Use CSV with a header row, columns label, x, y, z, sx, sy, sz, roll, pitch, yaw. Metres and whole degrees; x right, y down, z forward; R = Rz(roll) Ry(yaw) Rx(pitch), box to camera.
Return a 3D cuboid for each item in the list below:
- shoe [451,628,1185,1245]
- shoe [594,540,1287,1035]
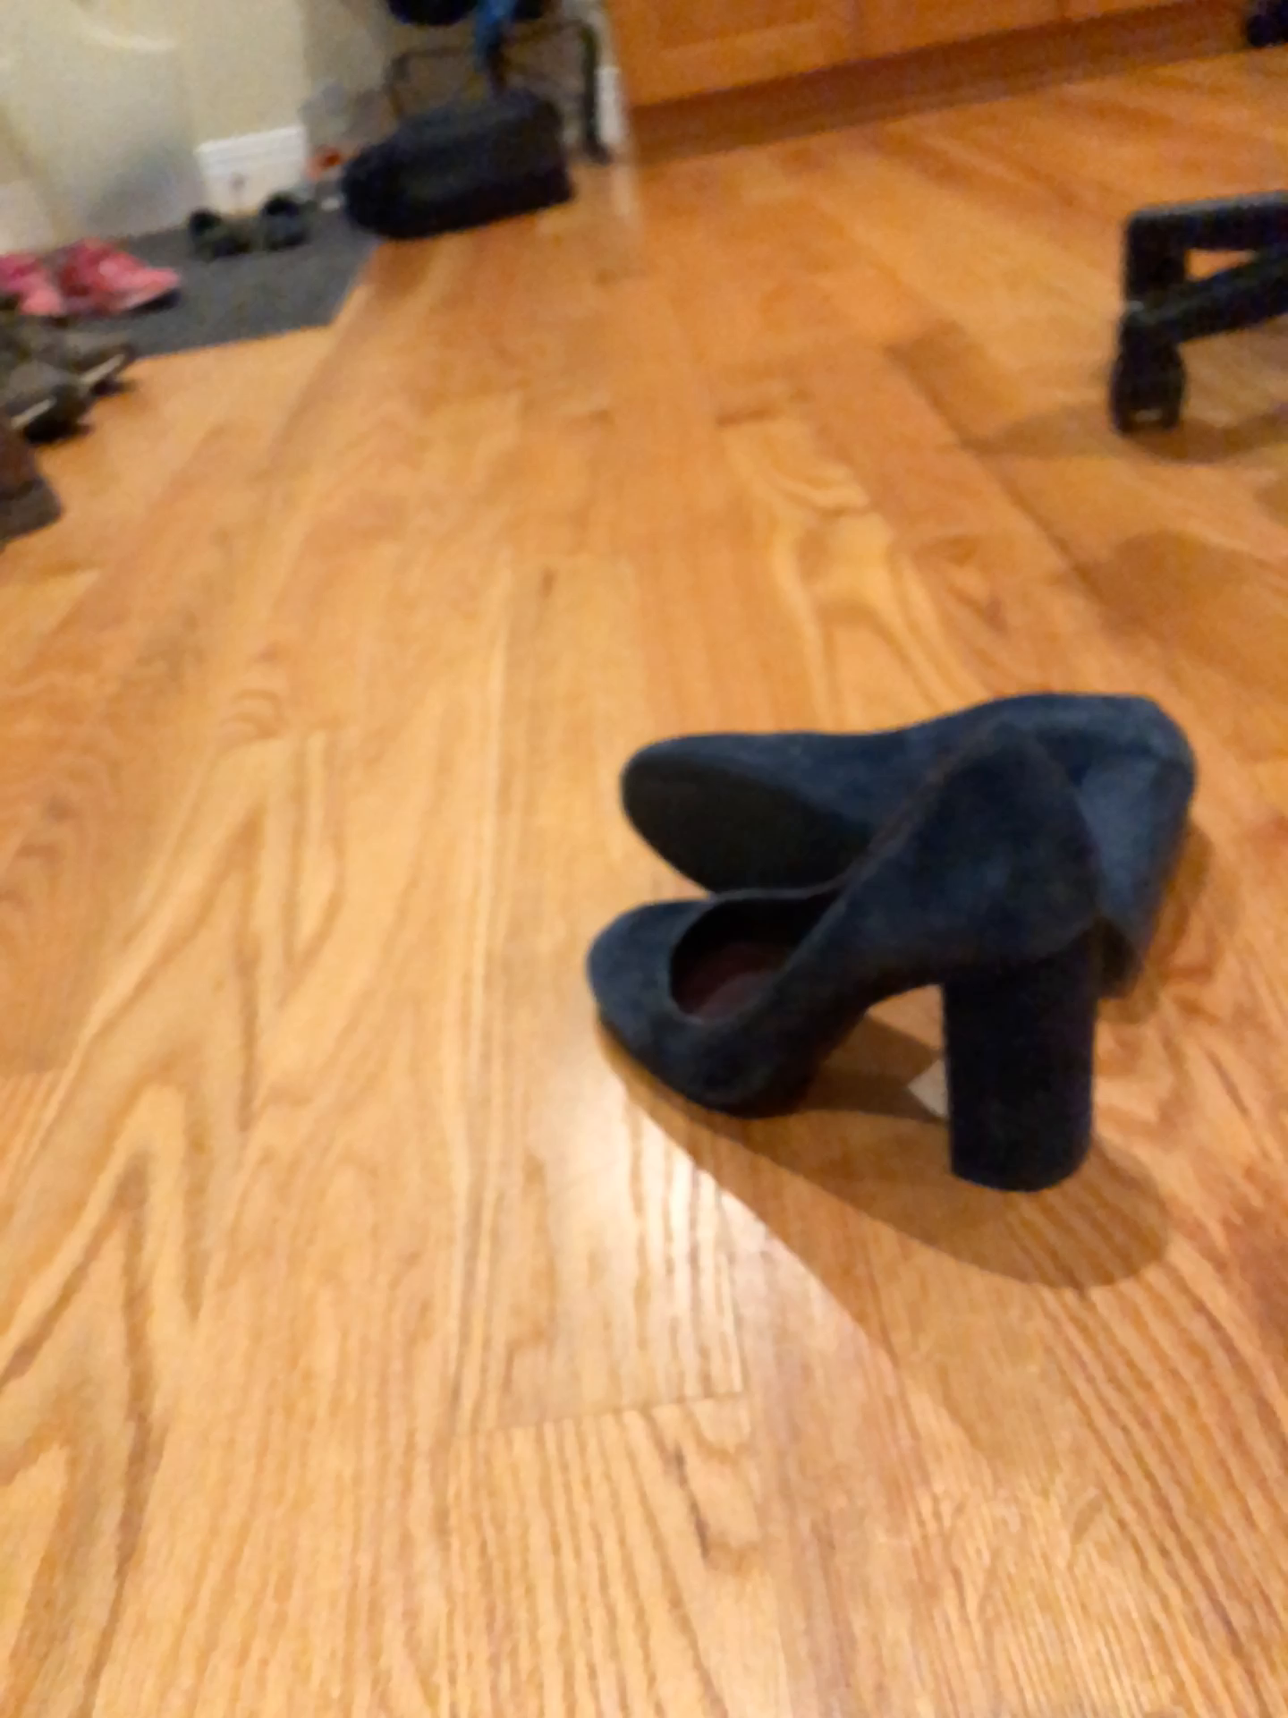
label,x,y,z,sx,sy,sz,roll,pitch,yaw
shoe,0.056,0.014,0.455,0.195,0.128,0.090,12,39,33
shoe,0.113,-0.039,0.540,0.205,0.089,0.140,13,46,33
